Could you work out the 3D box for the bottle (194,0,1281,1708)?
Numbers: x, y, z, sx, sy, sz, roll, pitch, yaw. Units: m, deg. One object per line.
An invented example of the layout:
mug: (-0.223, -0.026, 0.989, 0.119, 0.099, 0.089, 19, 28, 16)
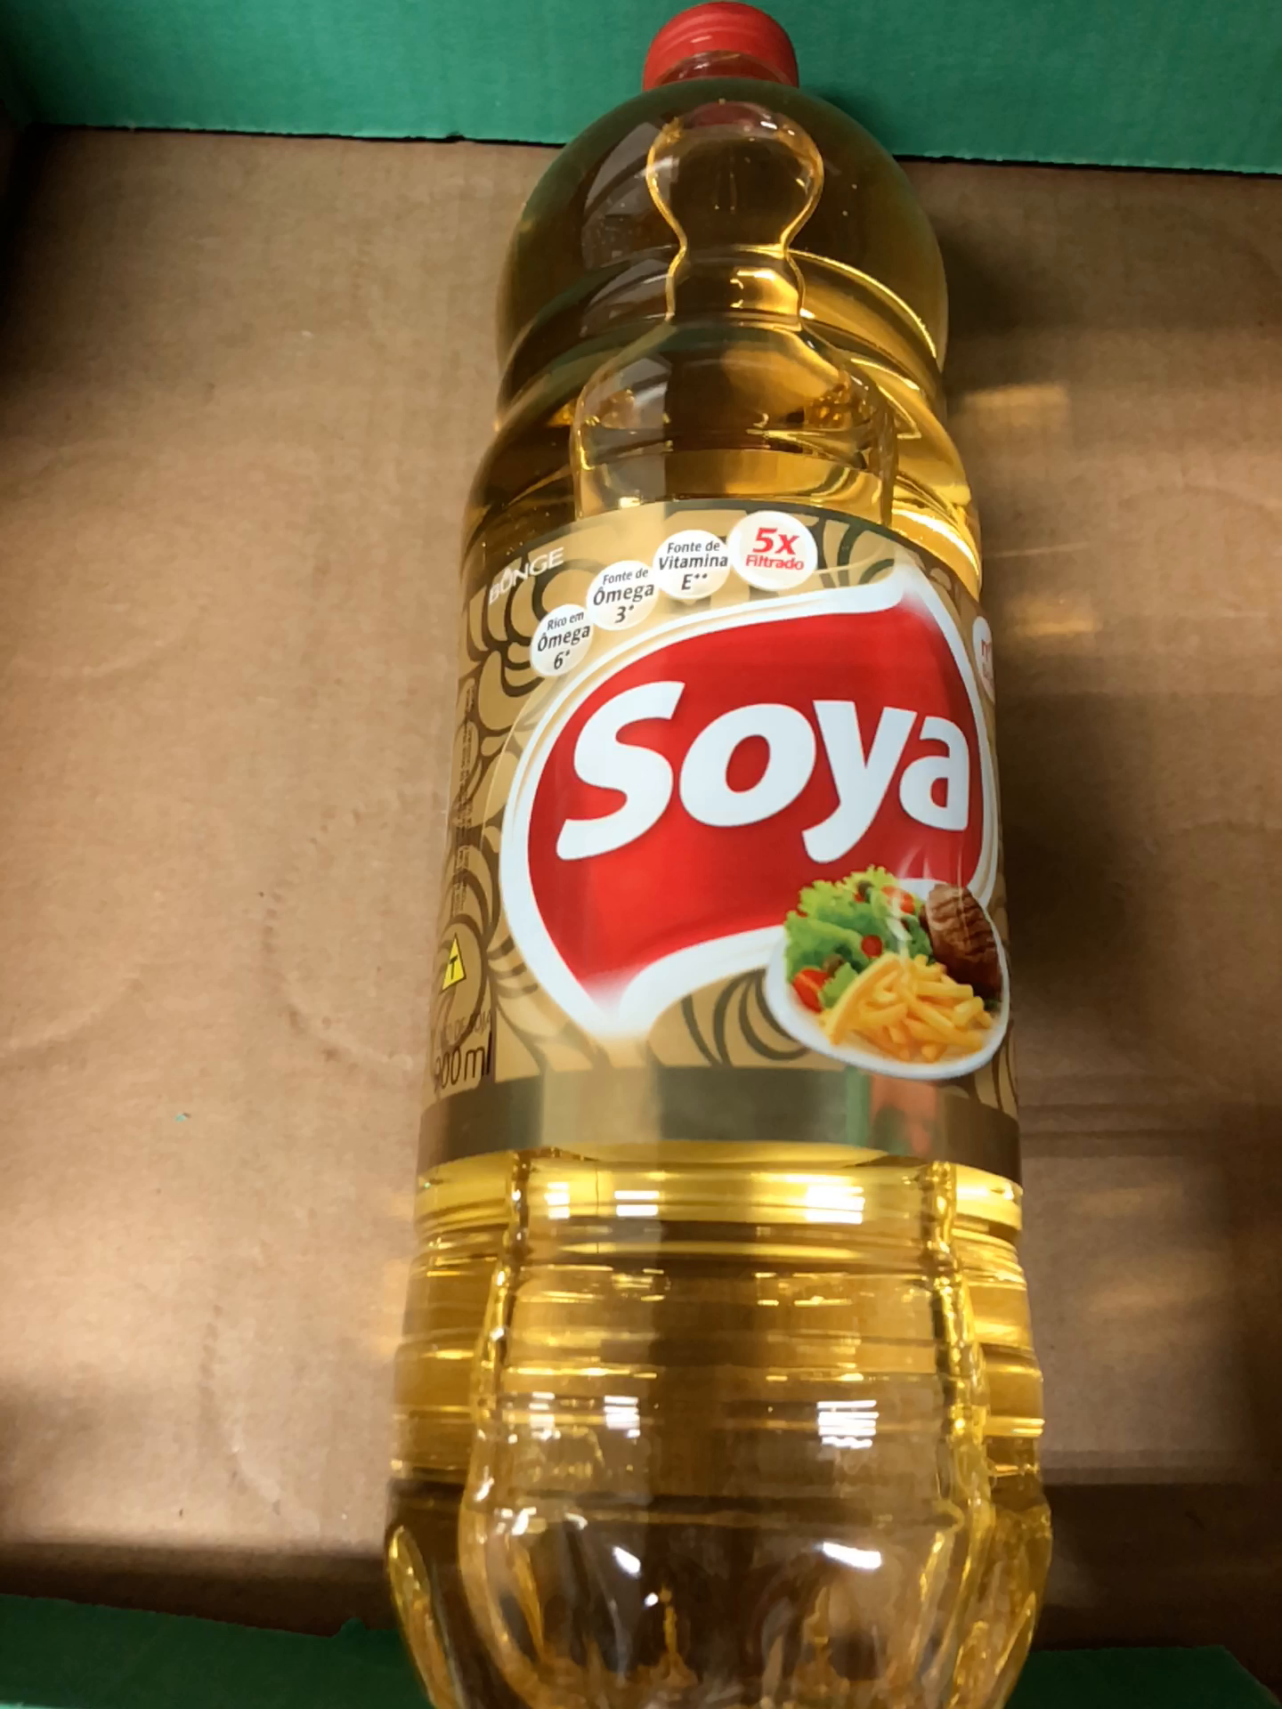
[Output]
bottle: (0.015, -0.016, 0.162, 0.080, 0.070, 0.210, 3, 71, 0)
